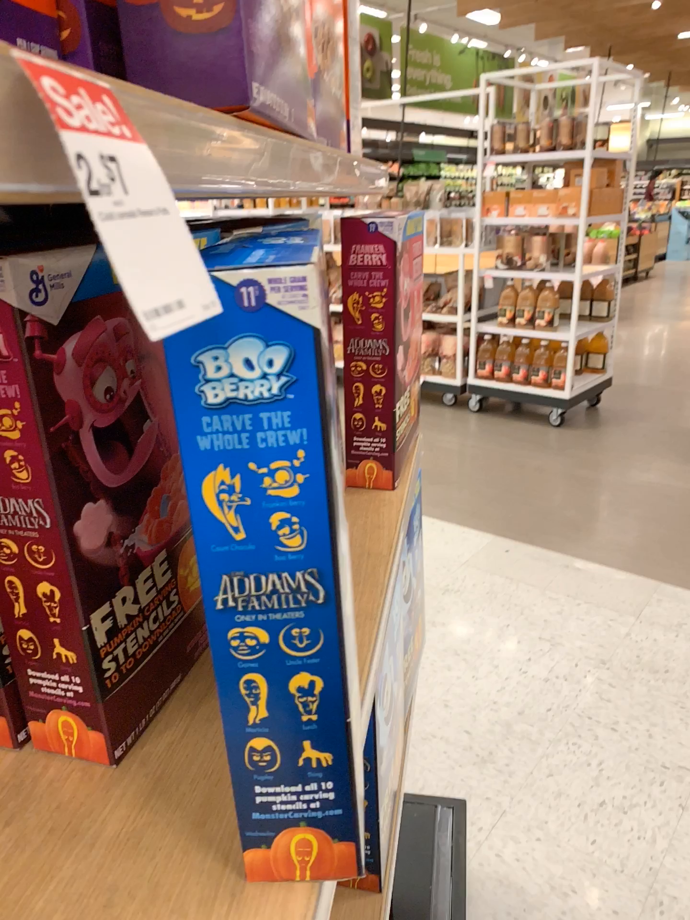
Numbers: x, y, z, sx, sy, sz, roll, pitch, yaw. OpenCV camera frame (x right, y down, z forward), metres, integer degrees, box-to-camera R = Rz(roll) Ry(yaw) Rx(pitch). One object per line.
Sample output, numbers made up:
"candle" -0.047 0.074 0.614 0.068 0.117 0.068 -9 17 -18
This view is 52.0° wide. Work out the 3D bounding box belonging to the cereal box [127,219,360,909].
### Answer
"cereal box" -0.039 0.030 0.406 0.060 0.309 0.241 -5 20 -1
